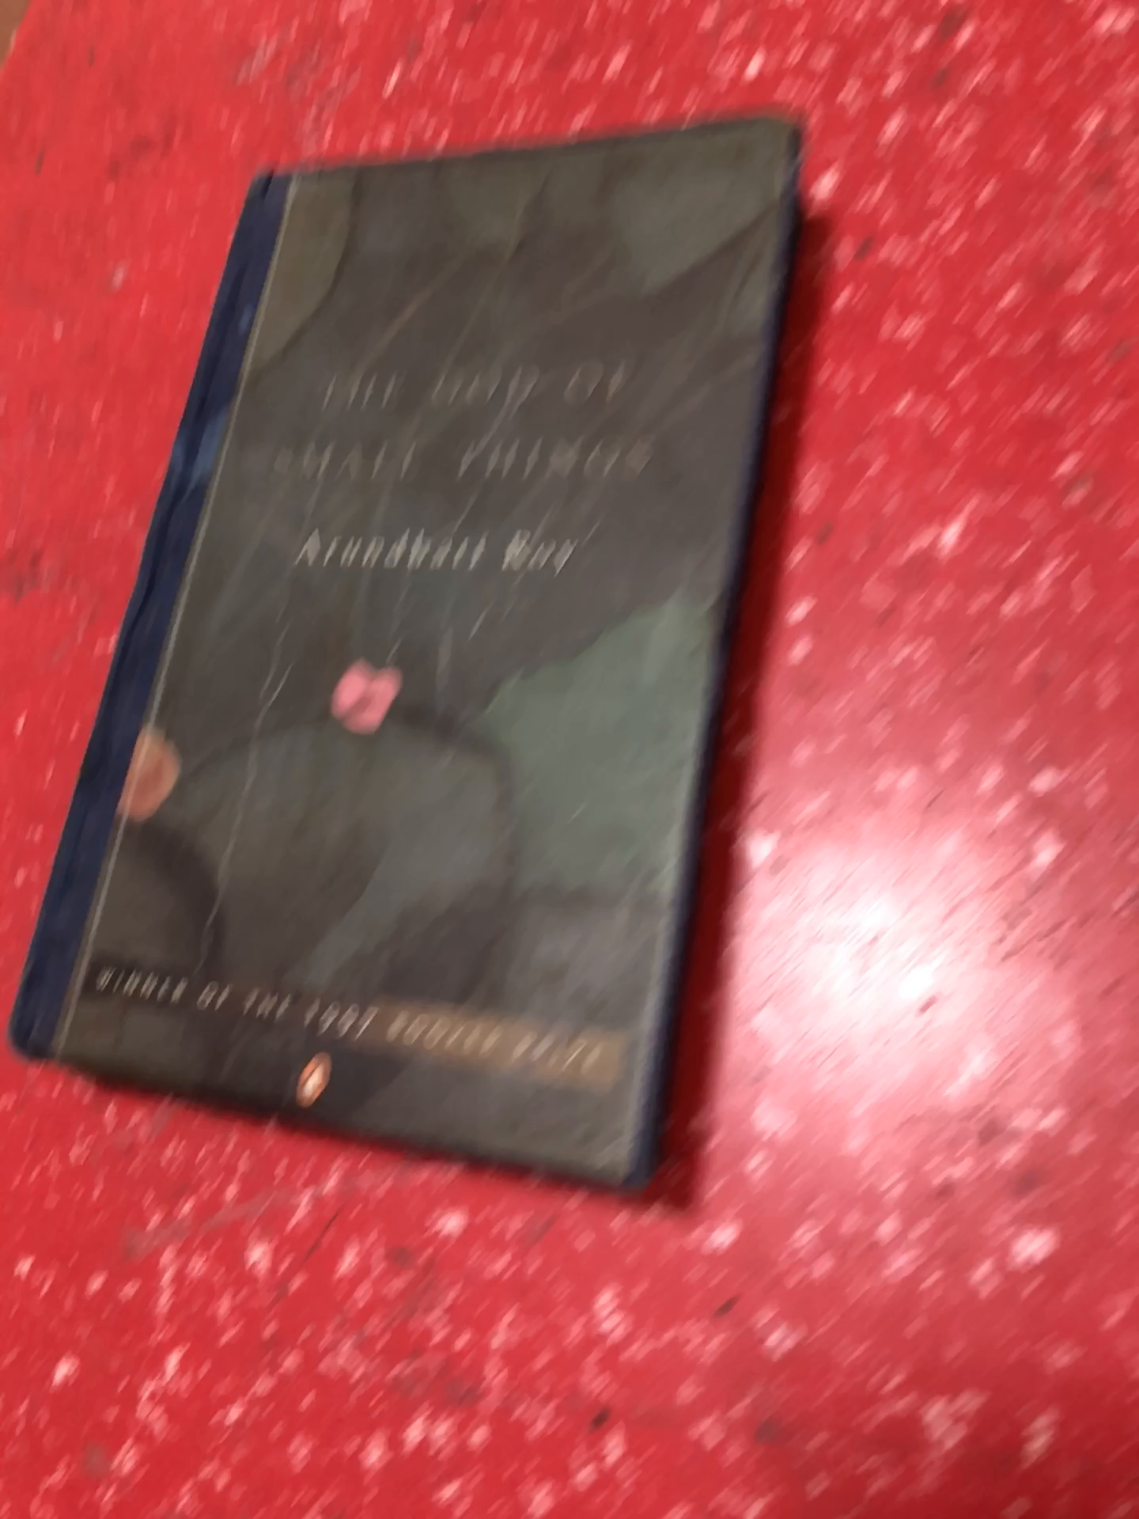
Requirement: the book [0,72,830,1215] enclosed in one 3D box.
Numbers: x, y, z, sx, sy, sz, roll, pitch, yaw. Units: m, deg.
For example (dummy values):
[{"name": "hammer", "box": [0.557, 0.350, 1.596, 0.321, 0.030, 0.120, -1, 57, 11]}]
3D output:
[{"name": "book", "box": [-0.036, -0.032, 0.272, 0.150, 0.040, 0.220, 4, 73, 23]}]
